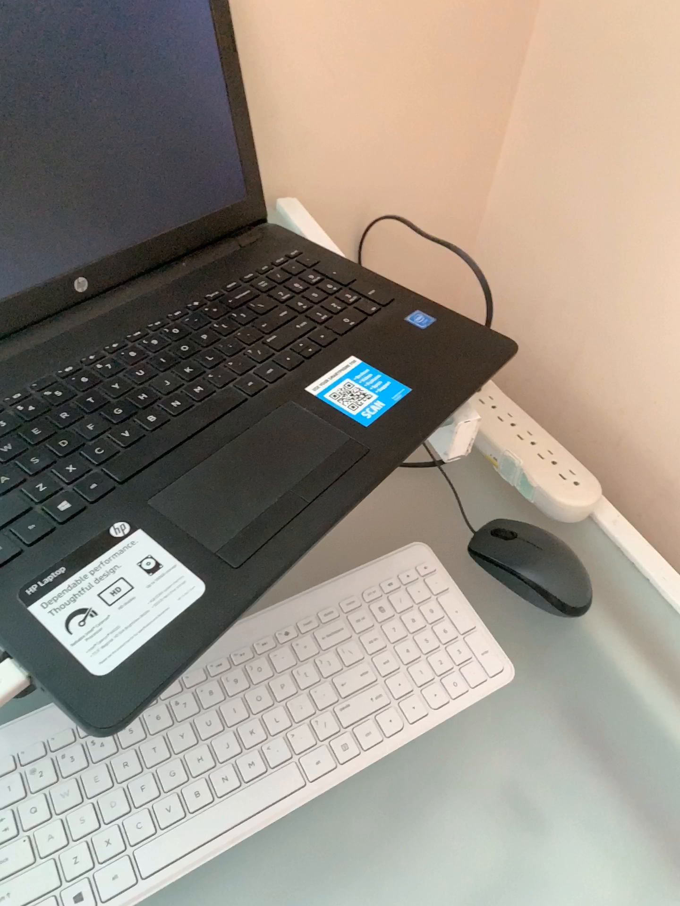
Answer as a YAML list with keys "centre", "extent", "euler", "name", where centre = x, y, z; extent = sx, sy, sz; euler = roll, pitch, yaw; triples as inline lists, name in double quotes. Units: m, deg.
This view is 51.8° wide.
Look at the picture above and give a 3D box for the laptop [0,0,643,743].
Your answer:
- centre: [-0.093, -0.133, 0.369]
  extent: [0.307, 0.222, 0.365]
  euler: [31, 48, 23]
  name: "laptop"
